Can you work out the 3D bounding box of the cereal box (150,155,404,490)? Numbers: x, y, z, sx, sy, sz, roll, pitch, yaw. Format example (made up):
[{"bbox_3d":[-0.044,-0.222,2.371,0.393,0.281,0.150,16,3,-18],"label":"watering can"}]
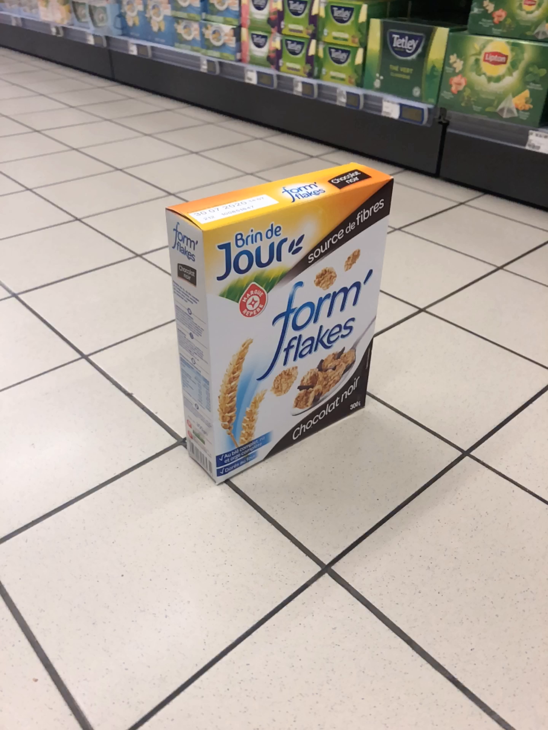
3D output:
[{"bbox_3d":[0.006,-0.040,0.547,0.201,0.248,0.070,-23,41,-31],"label":"cereal box"}]
